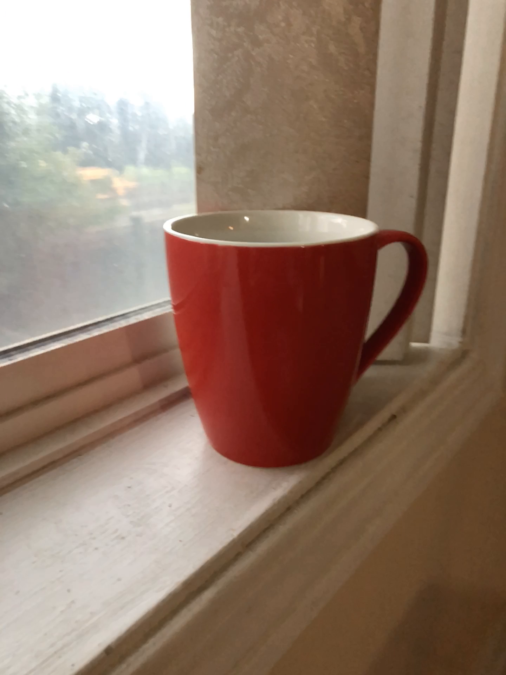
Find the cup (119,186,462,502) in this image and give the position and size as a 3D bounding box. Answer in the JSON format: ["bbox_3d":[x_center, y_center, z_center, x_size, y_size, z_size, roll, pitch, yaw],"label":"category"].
[{"bbox_3d":[0.017,-0.011,0.236,0.110,0.090,0.080,-18,26,-40],"label":"cup"}]
